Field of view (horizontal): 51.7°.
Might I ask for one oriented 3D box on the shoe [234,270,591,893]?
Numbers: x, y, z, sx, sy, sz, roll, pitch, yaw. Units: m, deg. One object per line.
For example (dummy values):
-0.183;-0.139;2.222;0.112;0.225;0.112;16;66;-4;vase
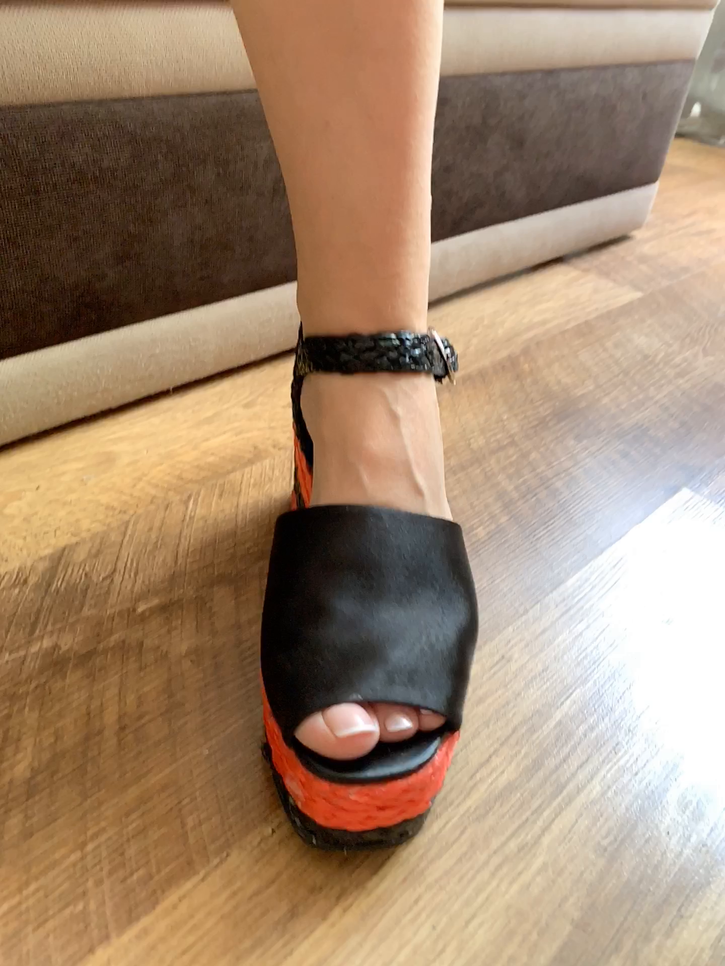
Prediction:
-0.002;0.017;0.316;0.089;0.124;0.241;1;36;-7;shoe
